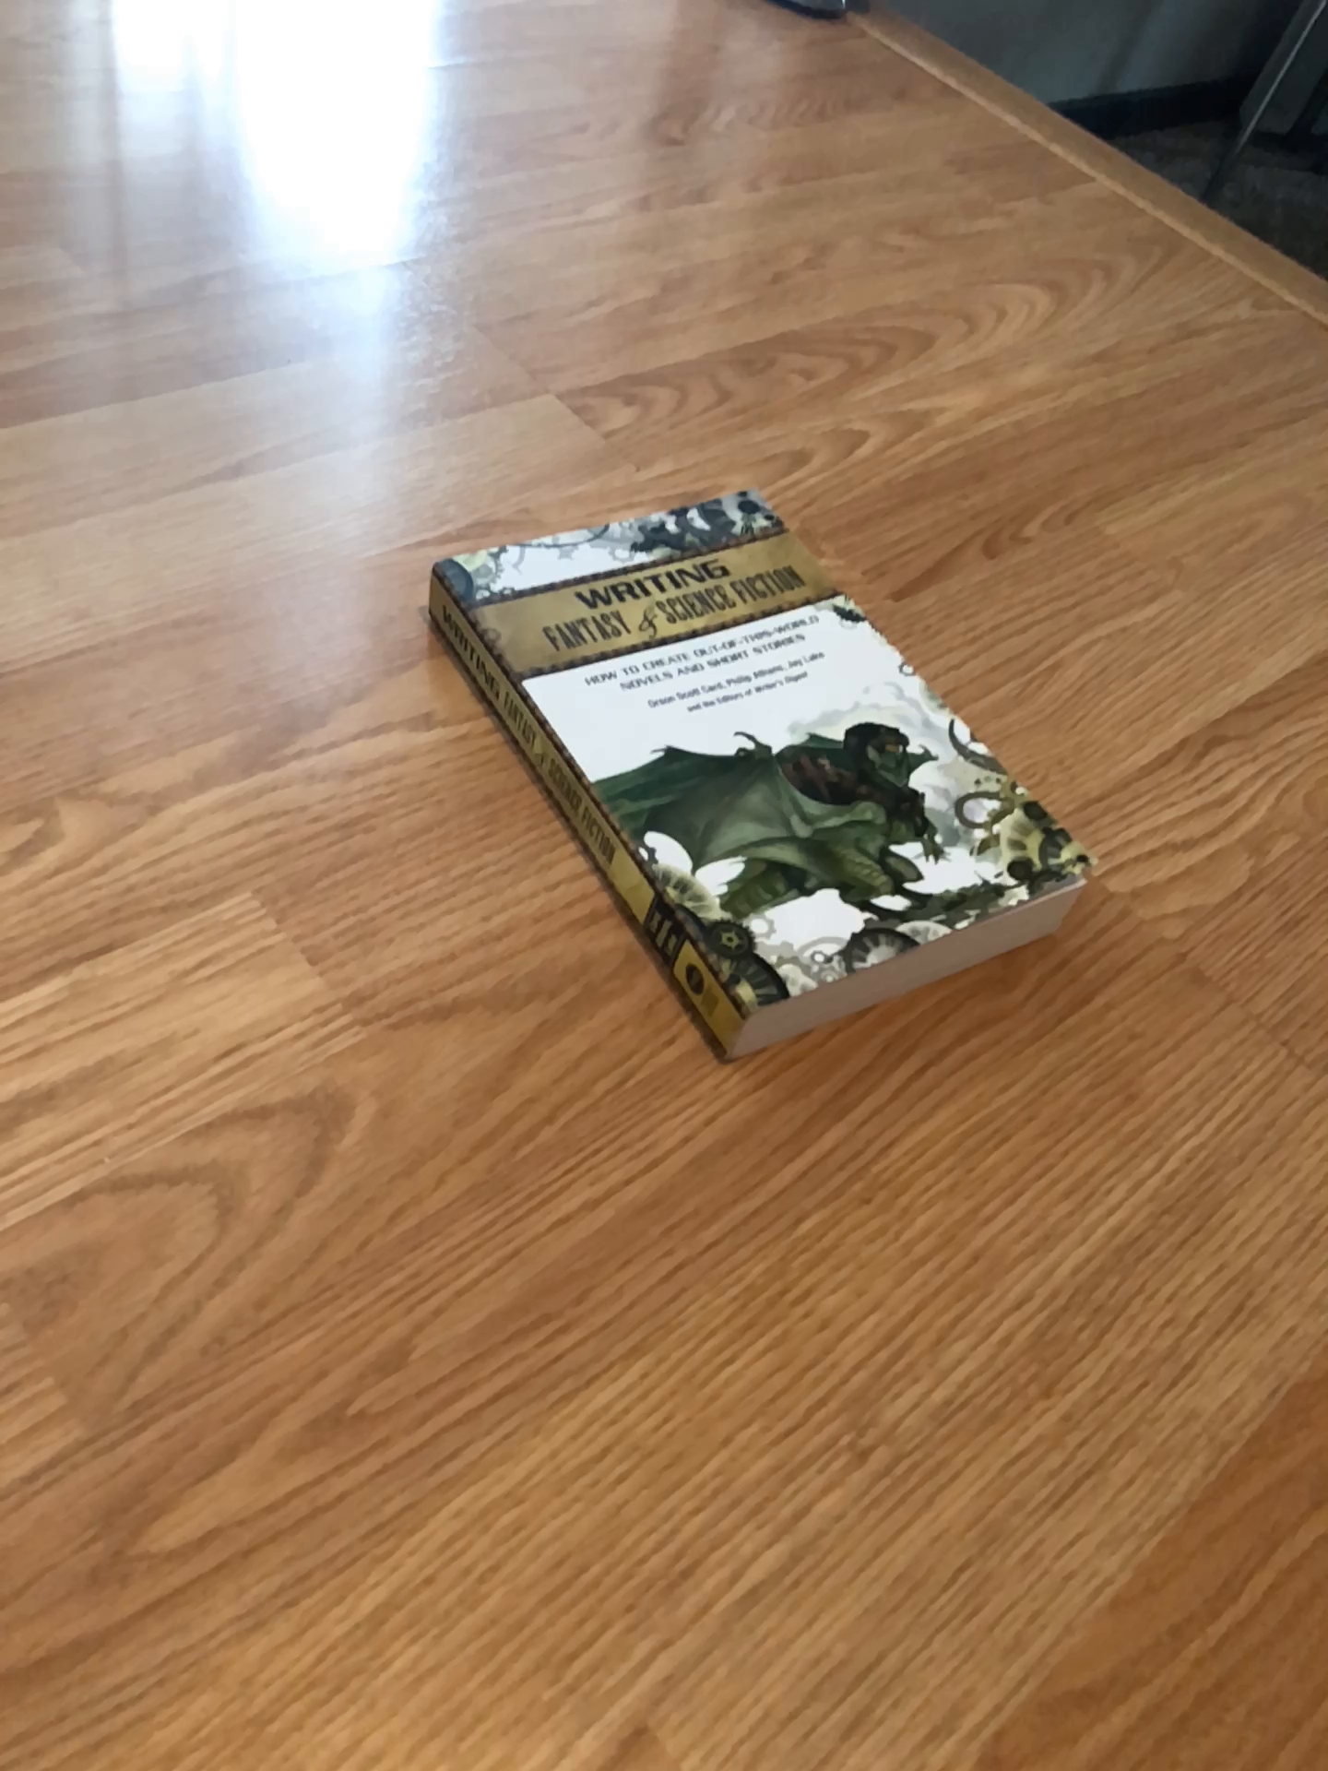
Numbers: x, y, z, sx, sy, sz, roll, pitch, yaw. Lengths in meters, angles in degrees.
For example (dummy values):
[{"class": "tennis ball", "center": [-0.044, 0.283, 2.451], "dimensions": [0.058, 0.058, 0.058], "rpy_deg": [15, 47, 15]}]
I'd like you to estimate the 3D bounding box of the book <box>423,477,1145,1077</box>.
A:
[{"class": "book", "center": [0.037, -0.057, 0.541], "dimensions": [0.165, 0.040, 0.228], "rpy_deg": [-19, 57, -29]}]
